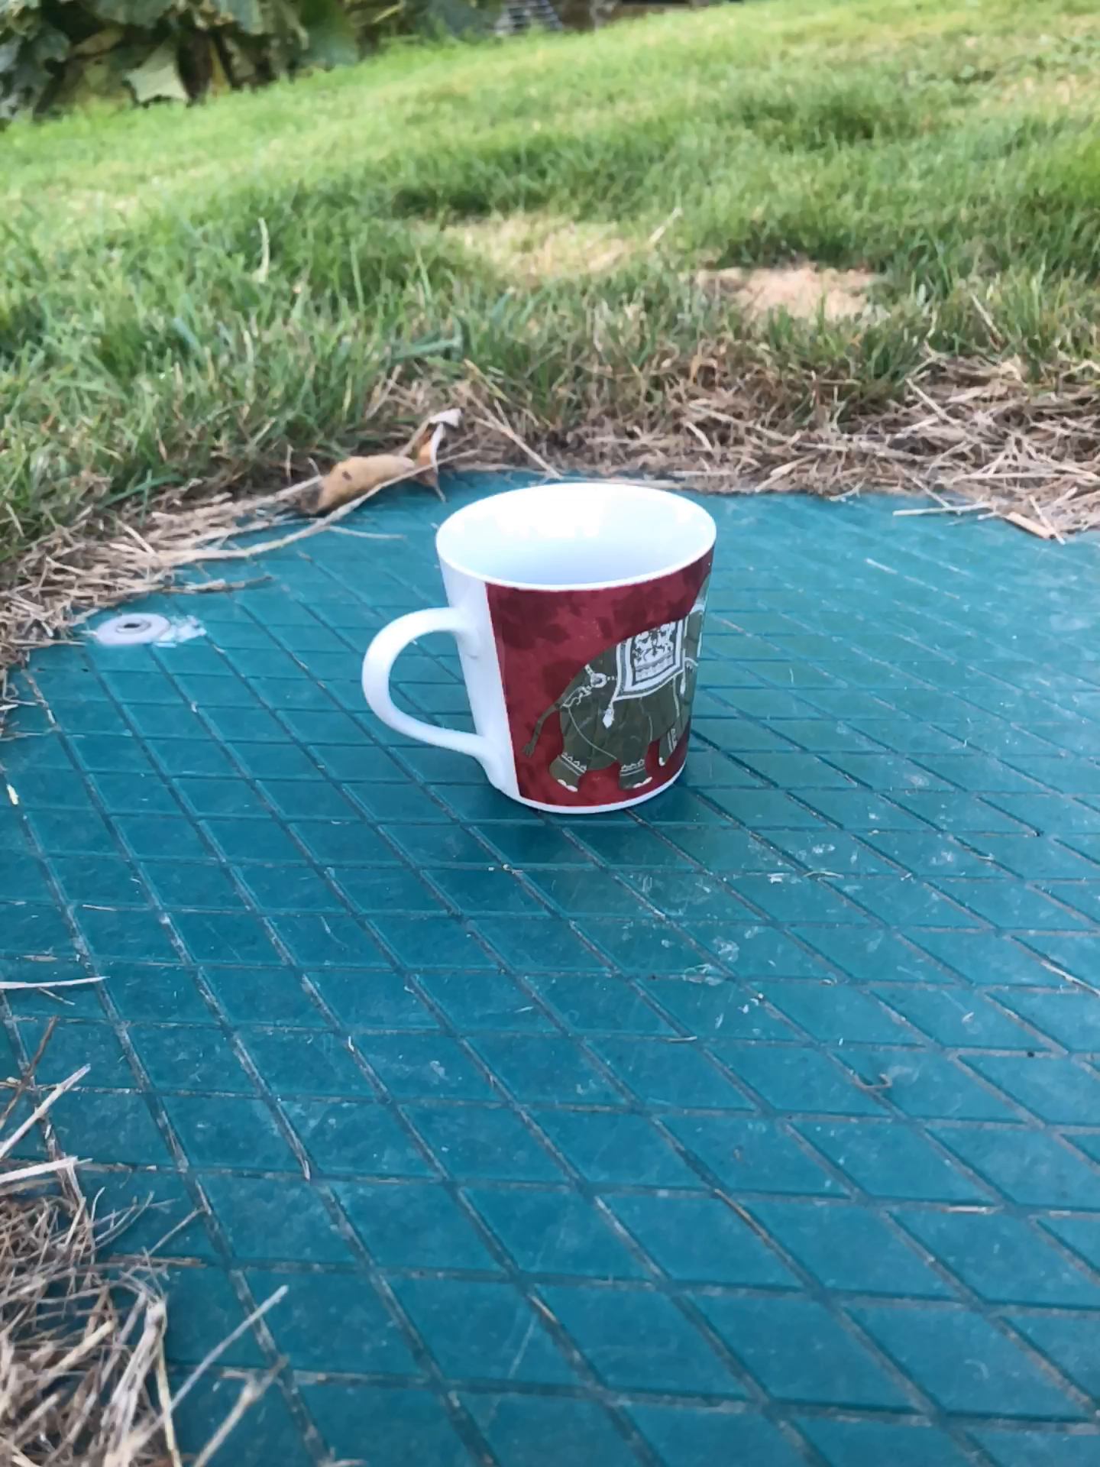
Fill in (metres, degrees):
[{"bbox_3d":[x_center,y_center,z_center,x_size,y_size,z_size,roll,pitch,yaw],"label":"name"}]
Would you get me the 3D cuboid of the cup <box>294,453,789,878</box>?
[{"bbox_3d":[-0.002,-0.026,0.351,0.110,0.070,0.082,-20,33,-27],"label":"cup"}]
